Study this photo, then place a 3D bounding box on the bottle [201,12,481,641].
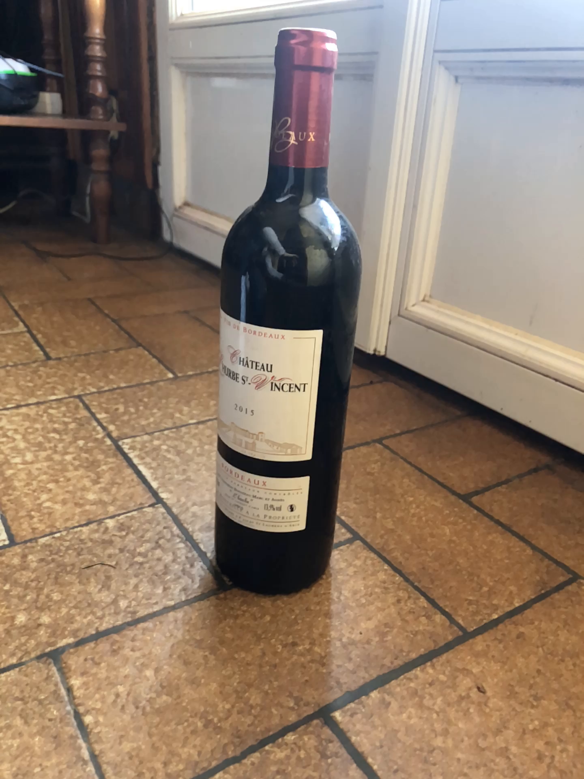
[{"bbox_3d":[0.017,-0.026,0.340,0.090,0.288,0.091,3,23,-1],"label":"bottle"}]
